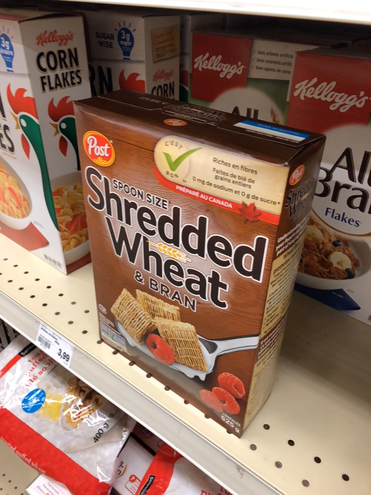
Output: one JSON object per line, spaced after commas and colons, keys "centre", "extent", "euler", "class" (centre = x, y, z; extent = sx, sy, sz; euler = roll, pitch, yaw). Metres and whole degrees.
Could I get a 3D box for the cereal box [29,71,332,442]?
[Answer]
{"centre": [-0.017, 0.003, 0.347], "extent": [0.211, 0.248, 0.070], "euler": [25, 40, 32], "class": "cereal box"}
